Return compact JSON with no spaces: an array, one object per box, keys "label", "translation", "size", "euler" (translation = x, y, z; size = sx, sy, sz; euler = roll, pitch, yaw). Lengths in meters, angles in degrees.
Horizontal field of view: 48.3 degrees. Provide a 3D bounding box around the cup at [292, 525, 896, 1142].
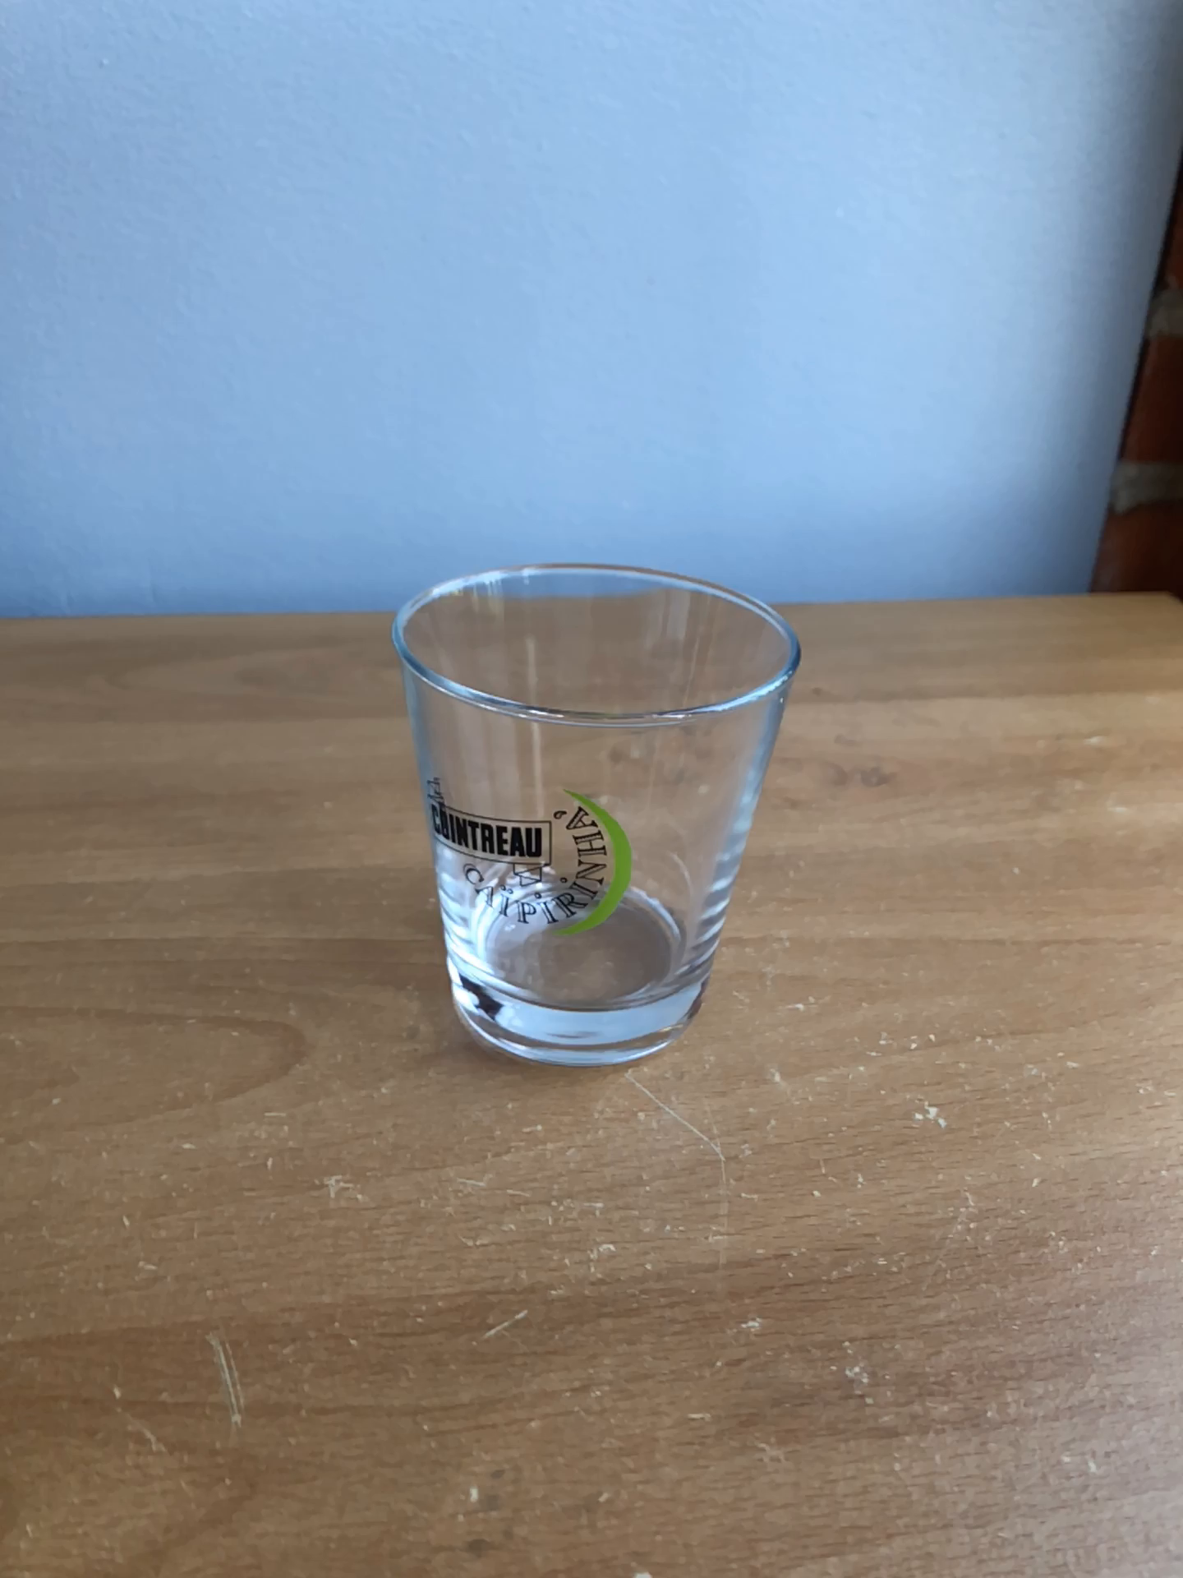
[{"label":"cup","translation":[0.001,0.001,0.253],"size":[0.079,0.073,0.076],"euler":[1,28,-1]}]
